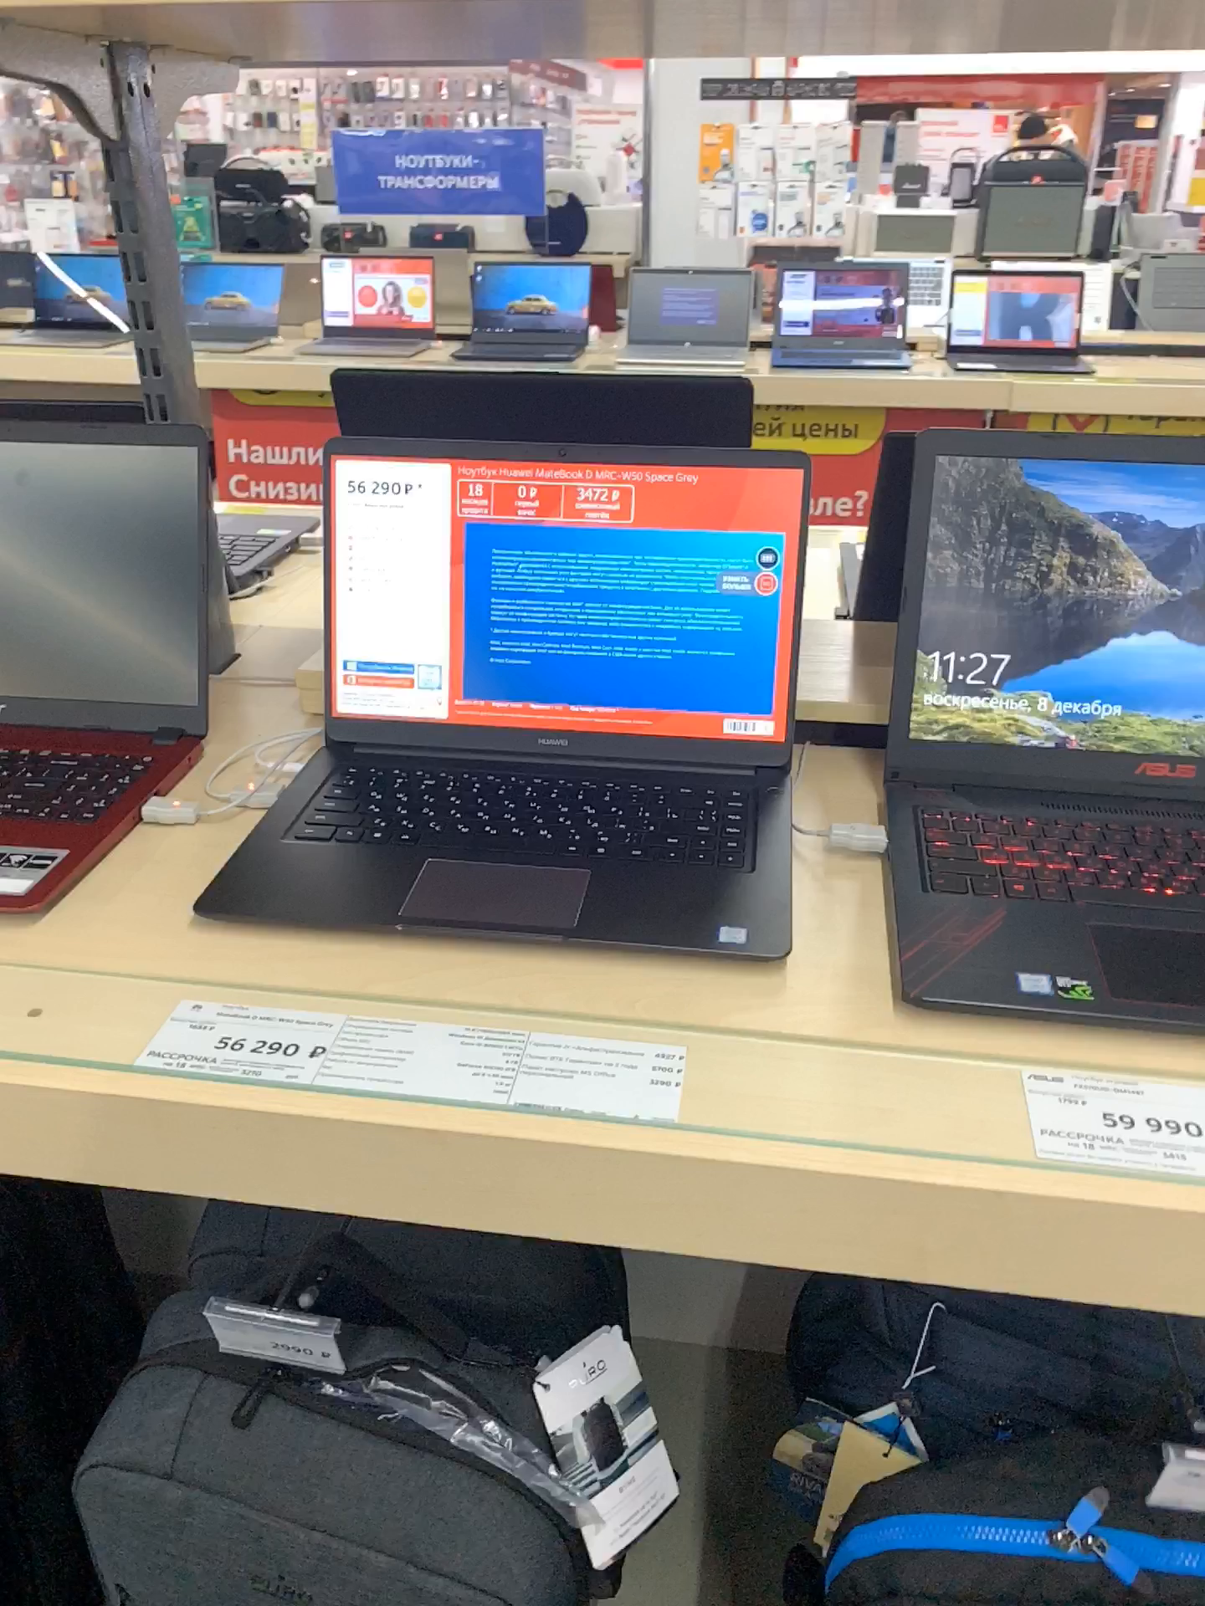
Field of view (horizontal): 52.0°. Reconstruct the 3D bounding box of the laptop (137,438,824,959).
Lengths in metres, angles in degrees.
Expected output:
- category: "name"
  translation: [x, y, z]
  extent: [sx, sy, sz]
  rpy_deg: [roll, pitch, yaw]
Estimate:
- category: "laptop"
  translation: [-0.046, -0.090, 0.791]
  extent: [0.348, 0.209, 0.304]
  rpy_deg: [4, 28, 7]
